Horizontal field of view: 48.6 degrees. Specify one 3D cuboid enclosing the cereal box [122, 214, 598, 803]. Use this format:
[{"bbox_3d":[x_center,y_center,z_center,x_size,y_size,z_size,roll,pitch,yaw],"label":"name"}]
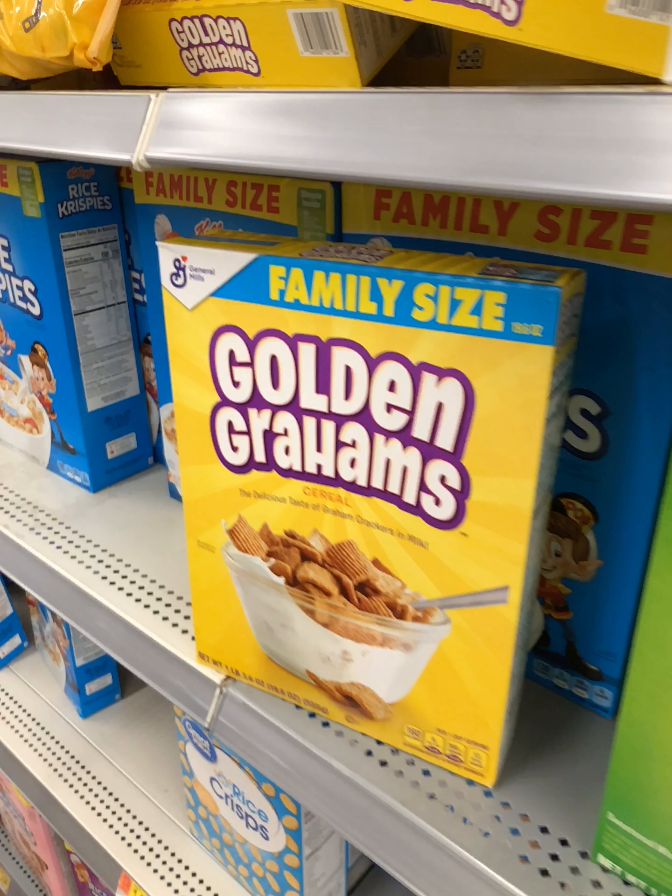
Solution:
[{"bbox_3d":[0.006,0.032,0.452,0.240,0.309,0.070,14,30,26],"label":"cereal box"}]
